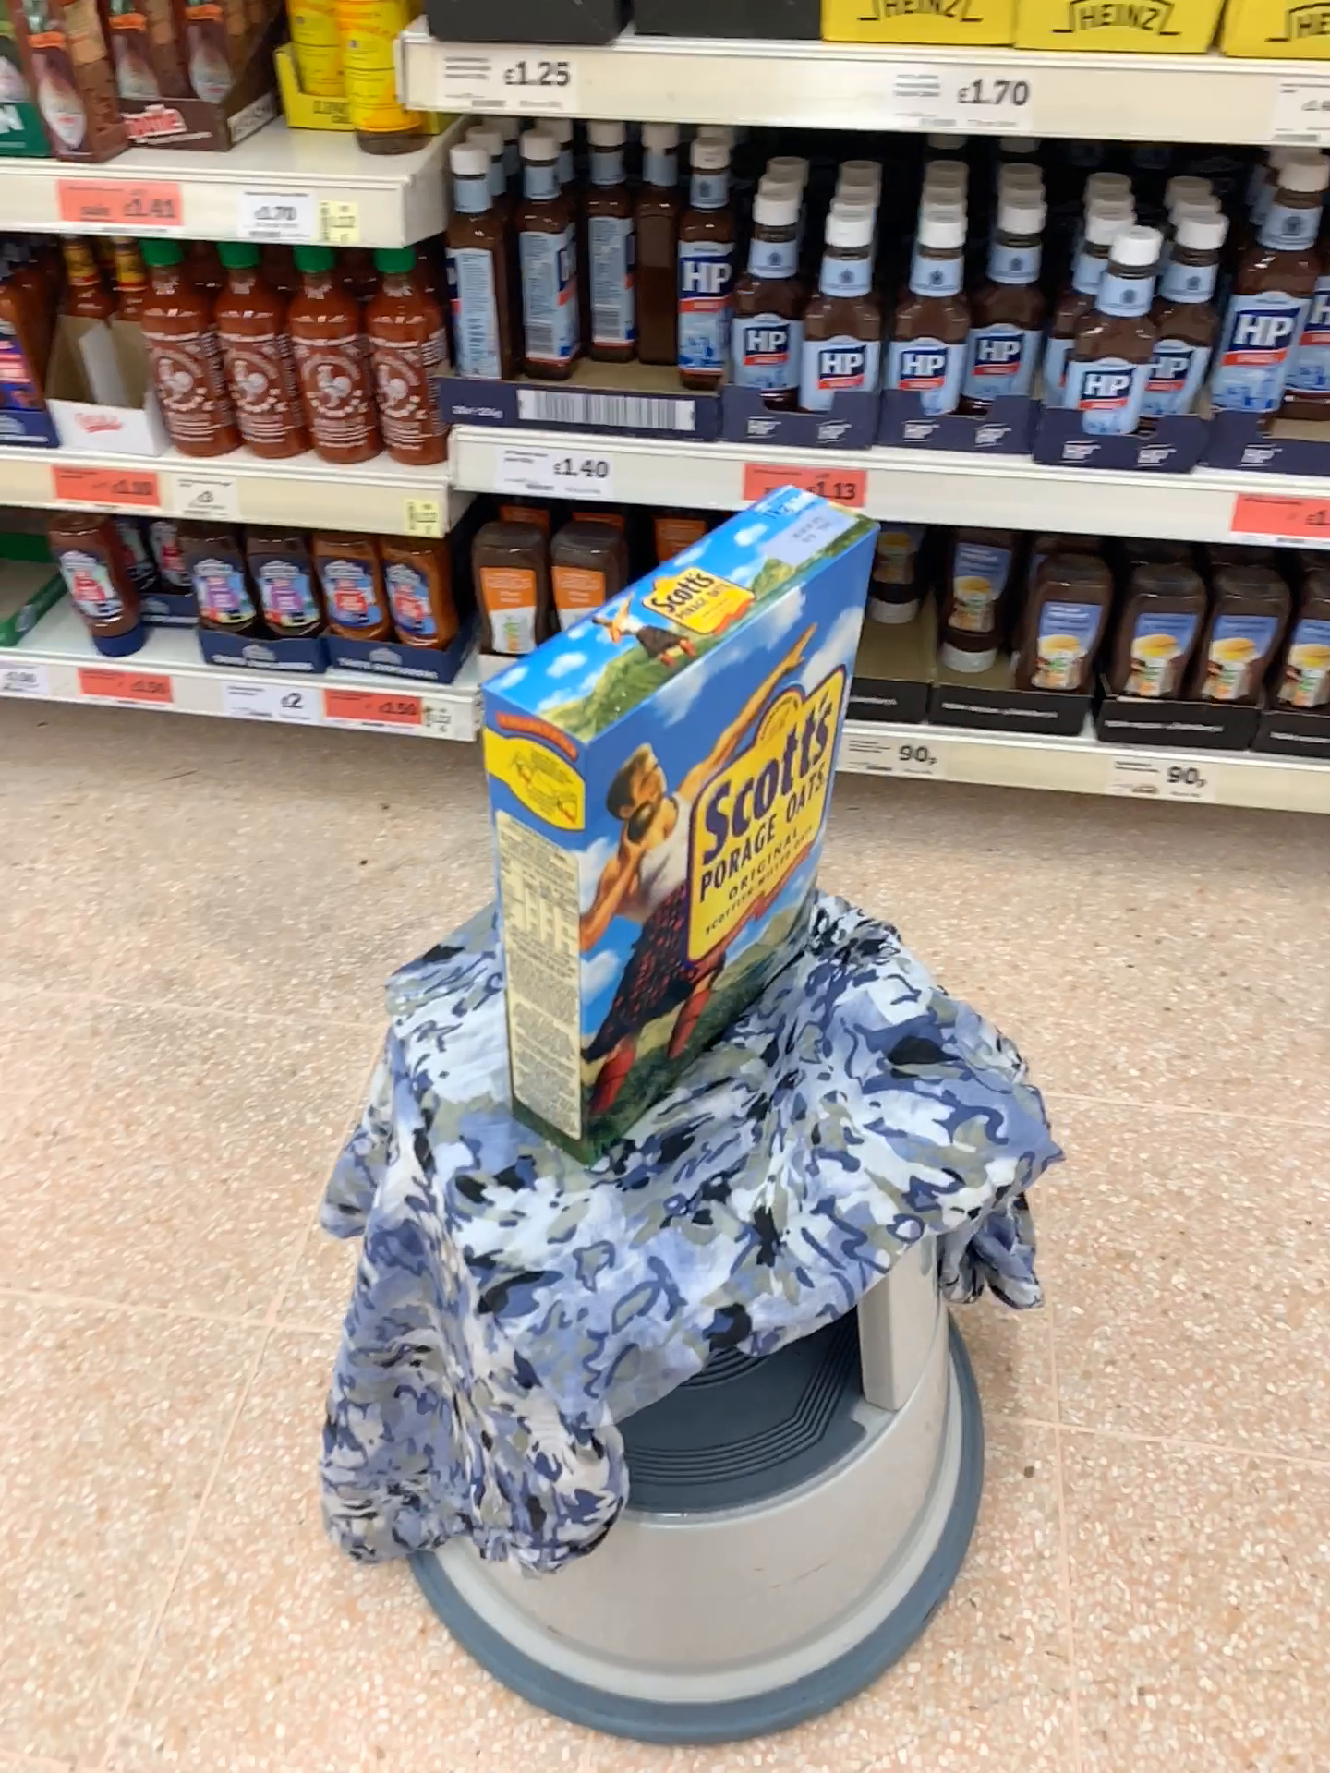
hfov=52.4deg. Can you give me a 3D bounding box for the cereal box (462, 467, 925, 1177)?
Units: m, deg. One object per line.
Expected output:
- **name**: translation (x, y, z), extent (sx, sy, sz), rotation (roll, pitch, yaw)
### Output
- **cereal box**: translation (0.015, -0.024, 0.604), extent (0.060, 0.248, 0.211), rotation (31, 52, 25)
